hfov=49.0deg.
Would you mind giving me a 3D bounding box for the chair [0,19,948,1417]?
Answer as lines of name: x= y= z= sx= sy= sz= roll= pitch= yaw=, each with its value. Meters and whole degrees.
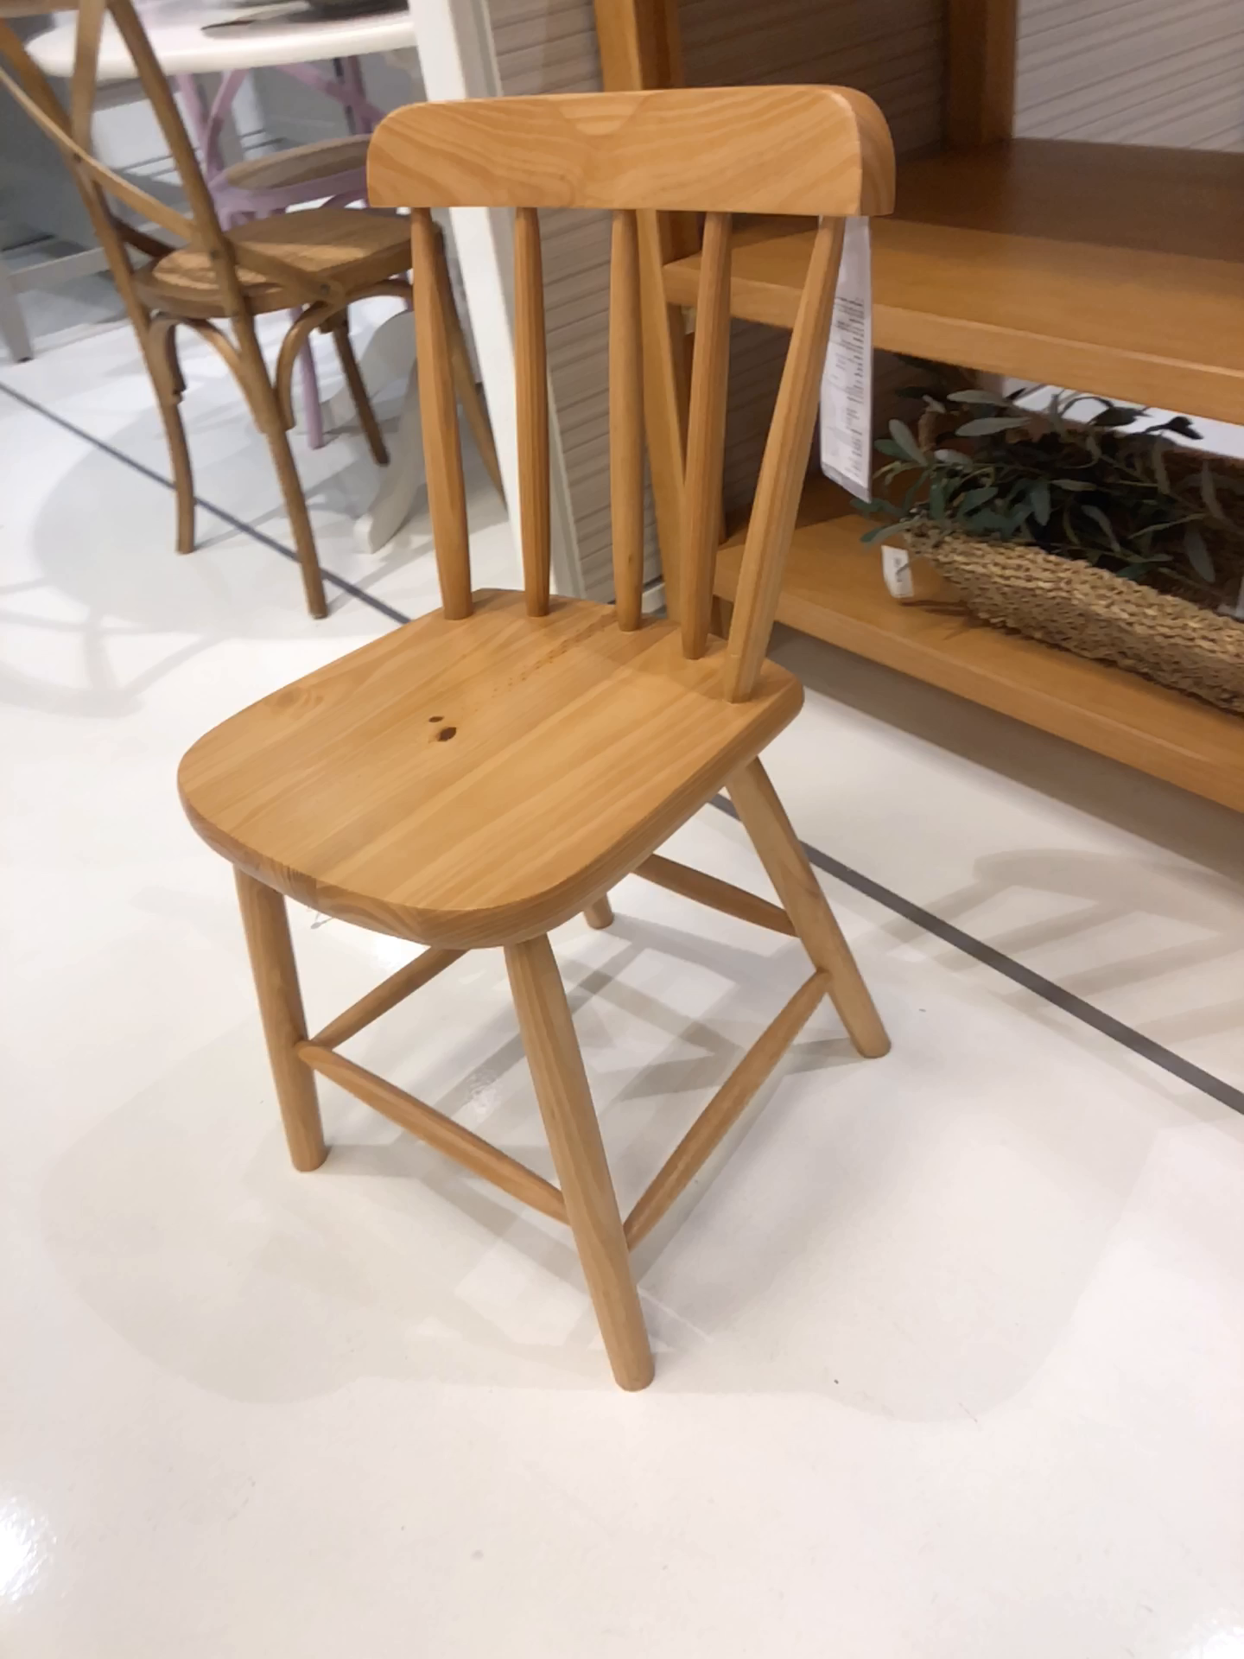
chair: x=-0.071 y=-0.083 z=0.959 sx=0.421 sy=0.754 sz=0.452 roll=21 pitch=46 yaw=35
